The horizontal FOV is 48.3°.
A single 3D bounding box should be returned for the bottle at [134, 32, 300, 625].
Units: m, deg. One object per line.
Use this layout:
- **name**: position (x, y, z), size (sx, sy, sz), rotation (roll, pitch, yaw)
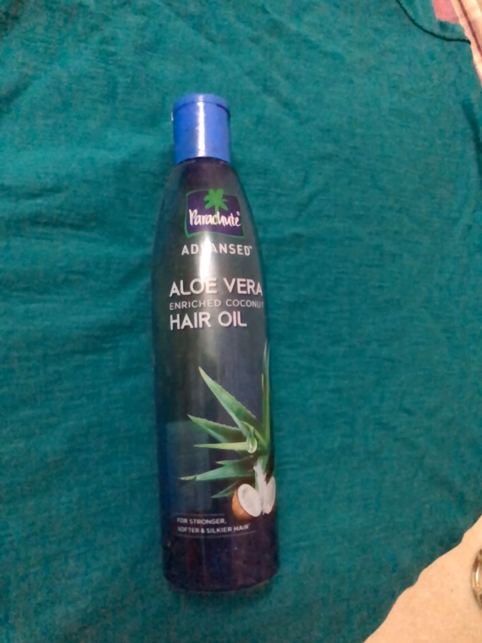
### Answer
- **bottle**: position (-0.014, -0.002, 0.216), size (0.050, 0.040, 0.210), rotation (0, 82, -18)
